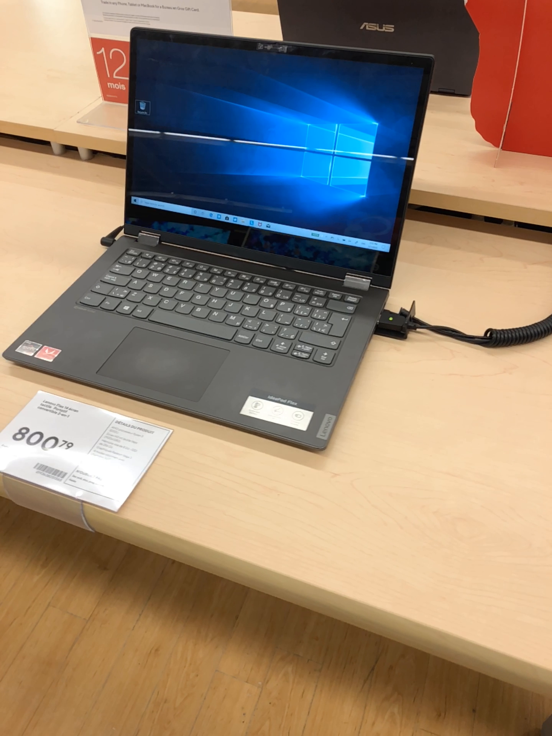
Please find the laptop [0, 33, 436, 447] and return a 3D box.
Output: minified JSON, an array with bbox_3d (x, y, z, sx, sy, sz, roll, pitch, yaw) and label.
[{"bbox_3d":[-0.057,-0.145,0.570,0.319,0.198,0.307,15,47,16],"label":"laptop"}]
